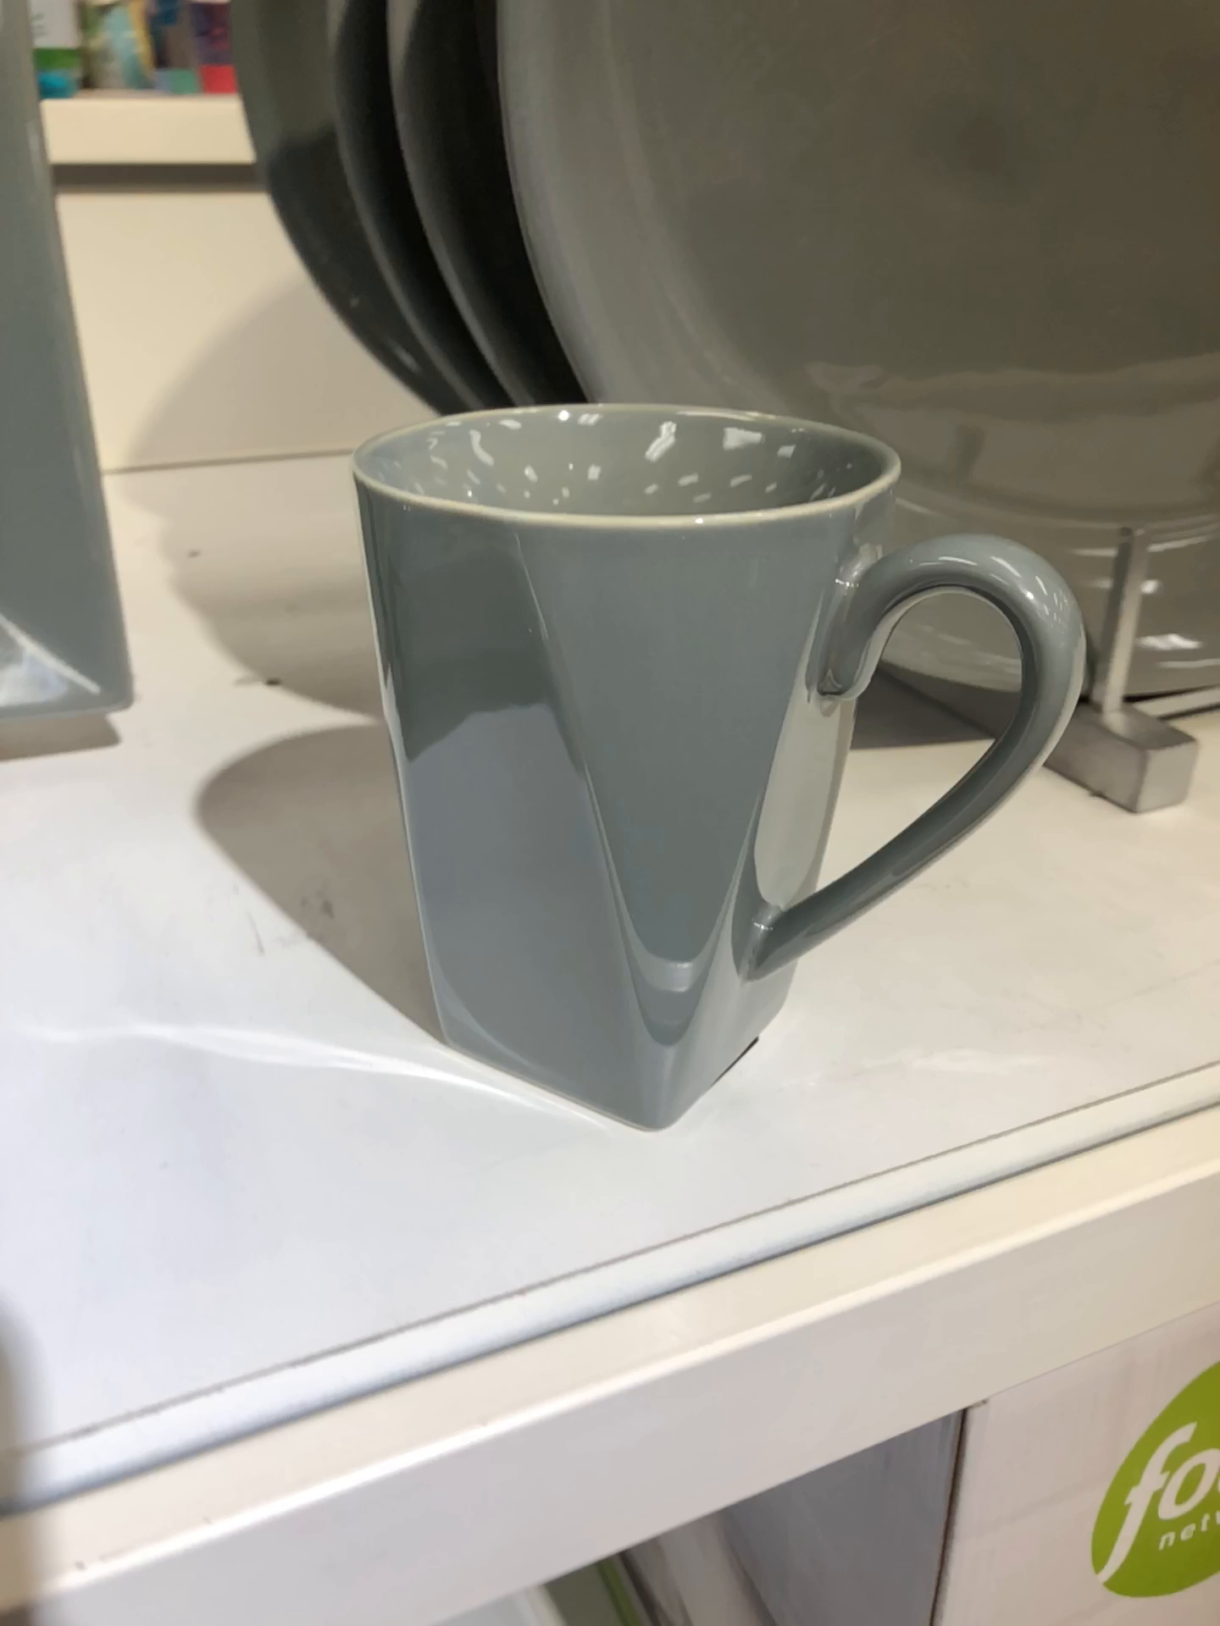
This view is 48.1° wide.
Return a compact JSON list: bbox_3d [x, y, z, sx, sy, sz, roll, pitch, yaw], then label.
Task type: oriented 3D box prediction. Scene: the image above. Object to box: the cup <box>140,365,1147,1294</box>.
[{"bbox_3d":[0.008,-0.012,0.229,0.118,0.097,0.100,16,31,27],"label":"cup"}]
